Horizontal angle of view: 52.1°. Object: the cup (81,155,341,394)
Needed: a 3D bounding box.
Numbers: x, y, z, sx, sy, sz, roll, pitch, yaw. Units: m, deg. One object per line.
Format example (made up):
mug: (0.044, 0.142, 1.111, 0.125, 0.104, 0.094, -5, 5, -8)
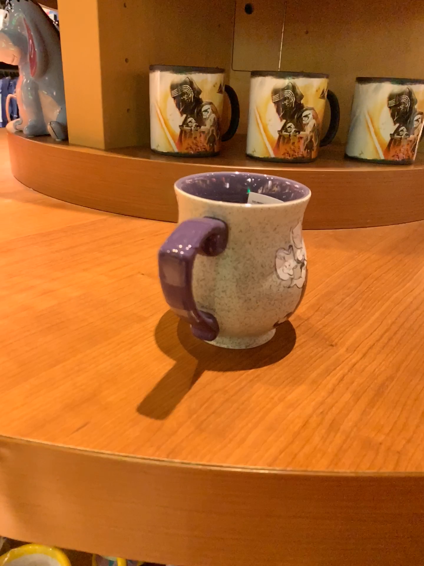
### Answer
cup: (0.006, -0.022, 0.303, 0.115, 0.099, 0.141, 16, 28, 26)
